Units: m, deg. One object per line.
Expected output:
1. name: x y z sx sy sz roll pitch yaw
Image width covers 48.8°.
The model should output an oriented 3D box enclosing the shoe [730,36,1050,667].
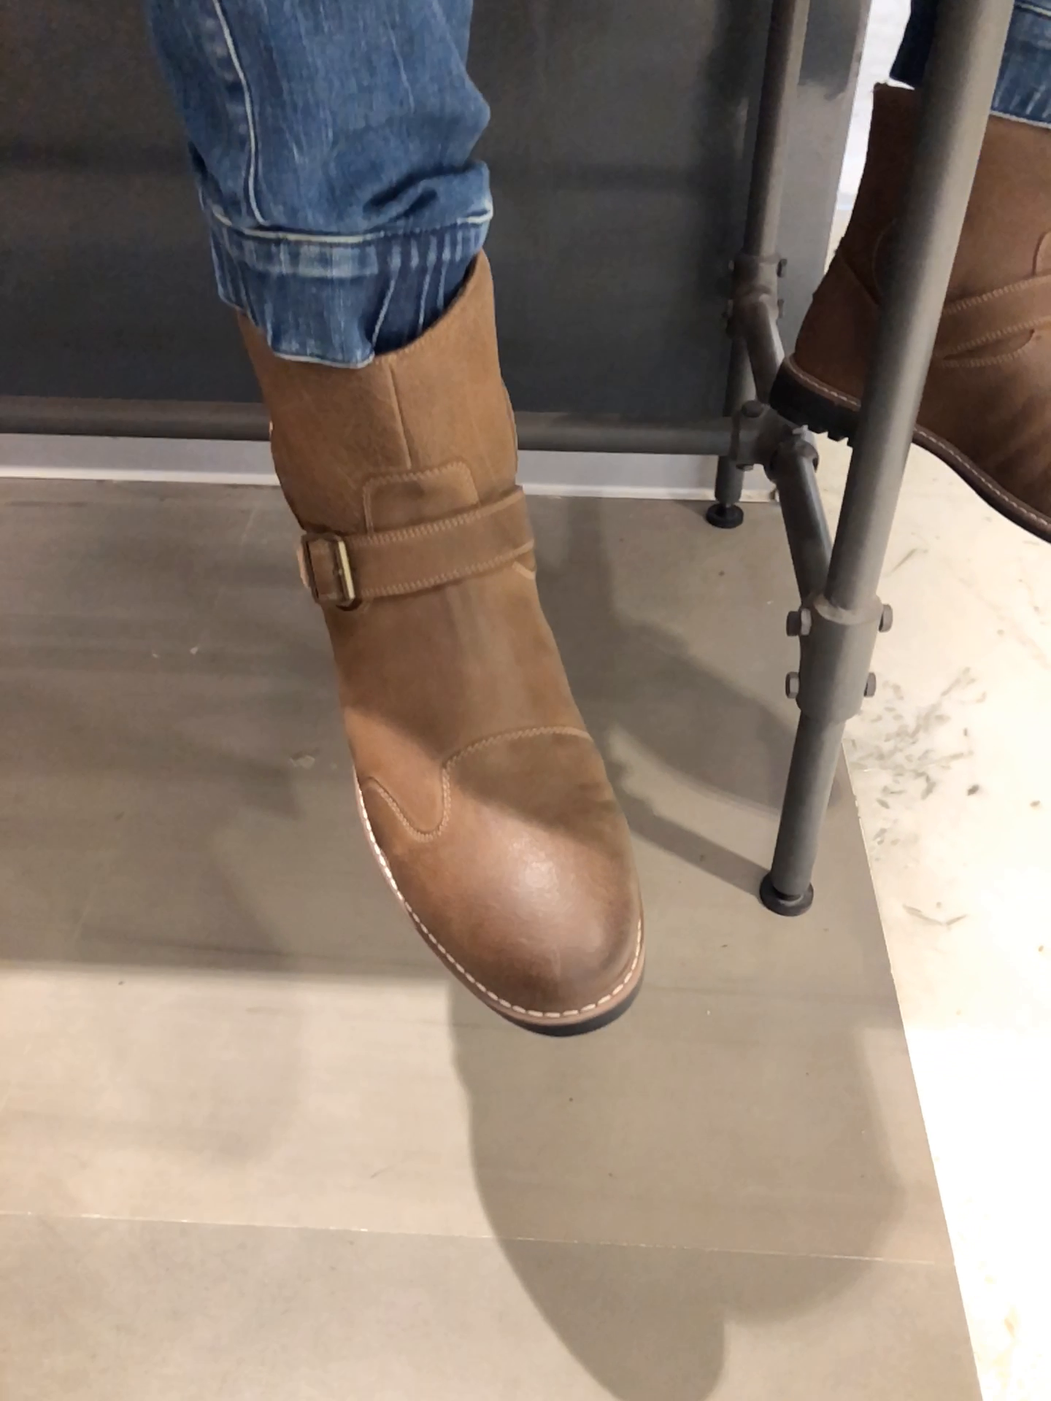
1. shoe: 0.307 -0.202 0.638 0.324 0.206 0.114 35 40 24

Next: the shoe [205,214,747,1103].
1. shoe: -0.030 -0.030 0.458 0.109 0.206 0.275 -15 45 -11
